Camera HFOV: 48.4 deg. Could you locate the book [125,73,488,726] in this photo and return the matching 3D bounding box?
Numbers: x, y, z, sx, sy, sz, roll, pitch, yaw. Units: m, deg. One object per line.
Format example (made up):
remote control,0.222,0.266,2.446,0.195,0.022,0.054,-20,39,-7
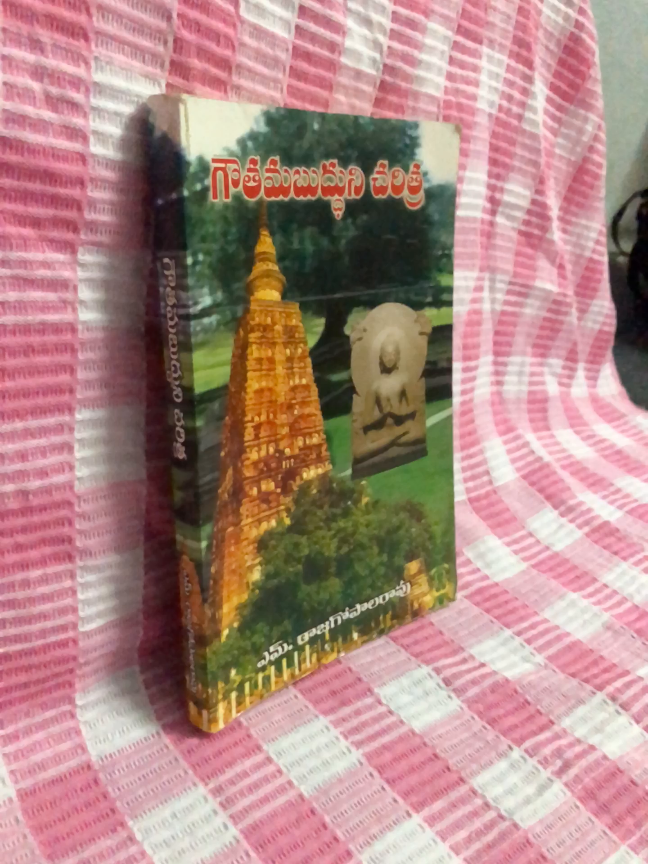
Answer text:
book,0.003,-0.014,0.281,0.141,0.209,0.030,-14,20,-39
